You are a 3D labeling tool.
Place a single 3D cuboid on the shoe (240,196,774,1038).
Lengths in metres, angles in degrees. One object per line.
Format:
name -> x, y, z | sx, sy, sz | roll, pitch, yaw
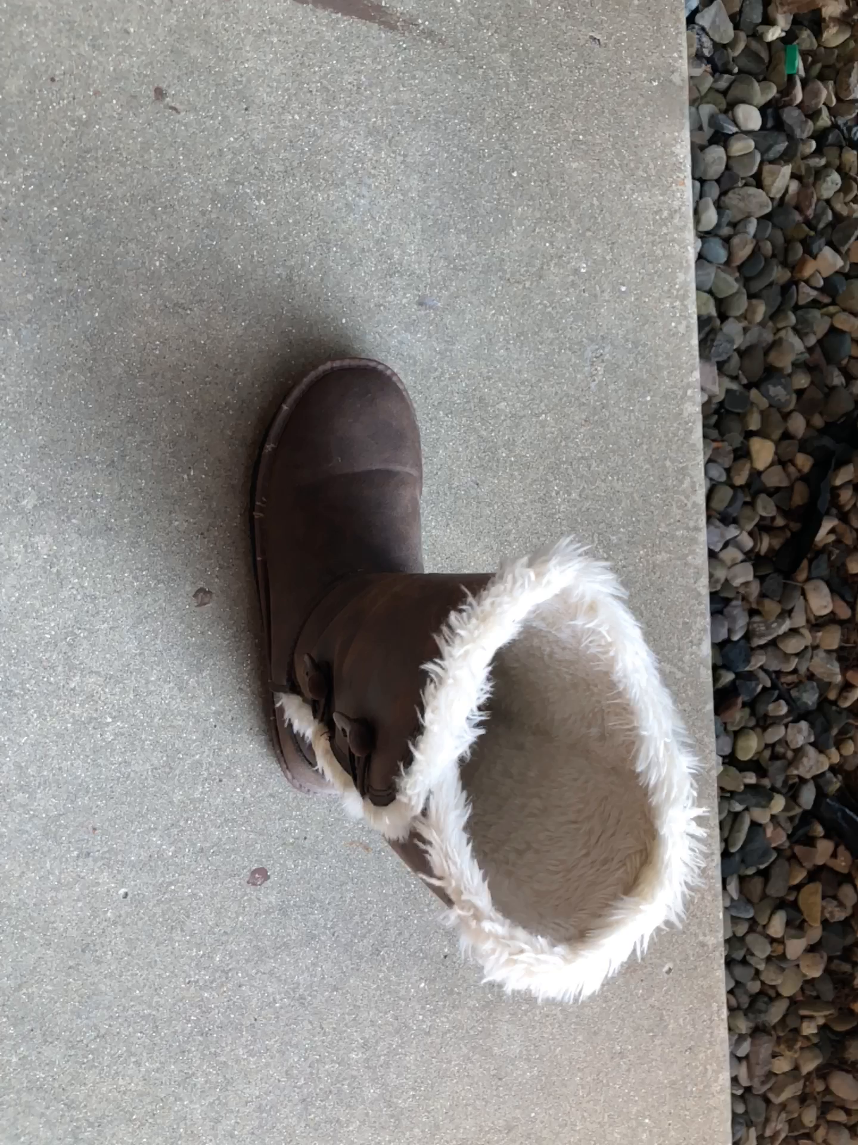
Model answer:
shoe -> 0.005, 0.012, 0.485 | 0.120, 0.319, 0.280 | 2, 92, -24
